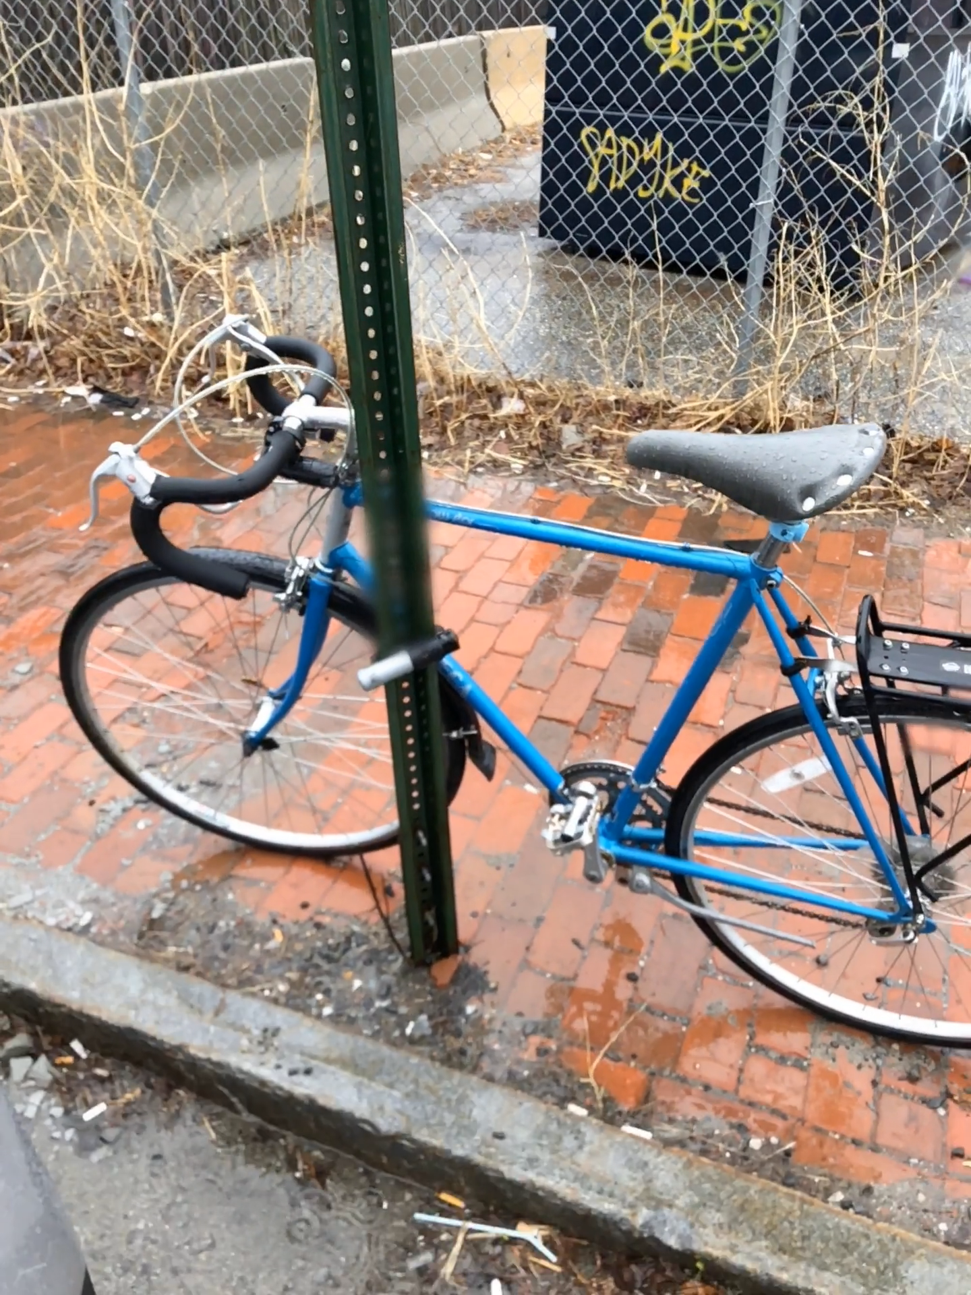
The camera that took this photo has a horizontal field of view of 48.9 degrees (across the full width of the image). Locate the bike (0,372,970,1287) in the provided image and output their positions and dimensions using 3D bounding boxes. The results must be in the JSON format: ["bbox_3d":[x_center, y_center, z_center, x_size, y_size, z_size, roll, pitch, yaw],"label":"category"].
[{"bbox_3d":[0.083,0.202,1.668,1.865,0.919,0.475,11,34,15],"label":"bike"}]
